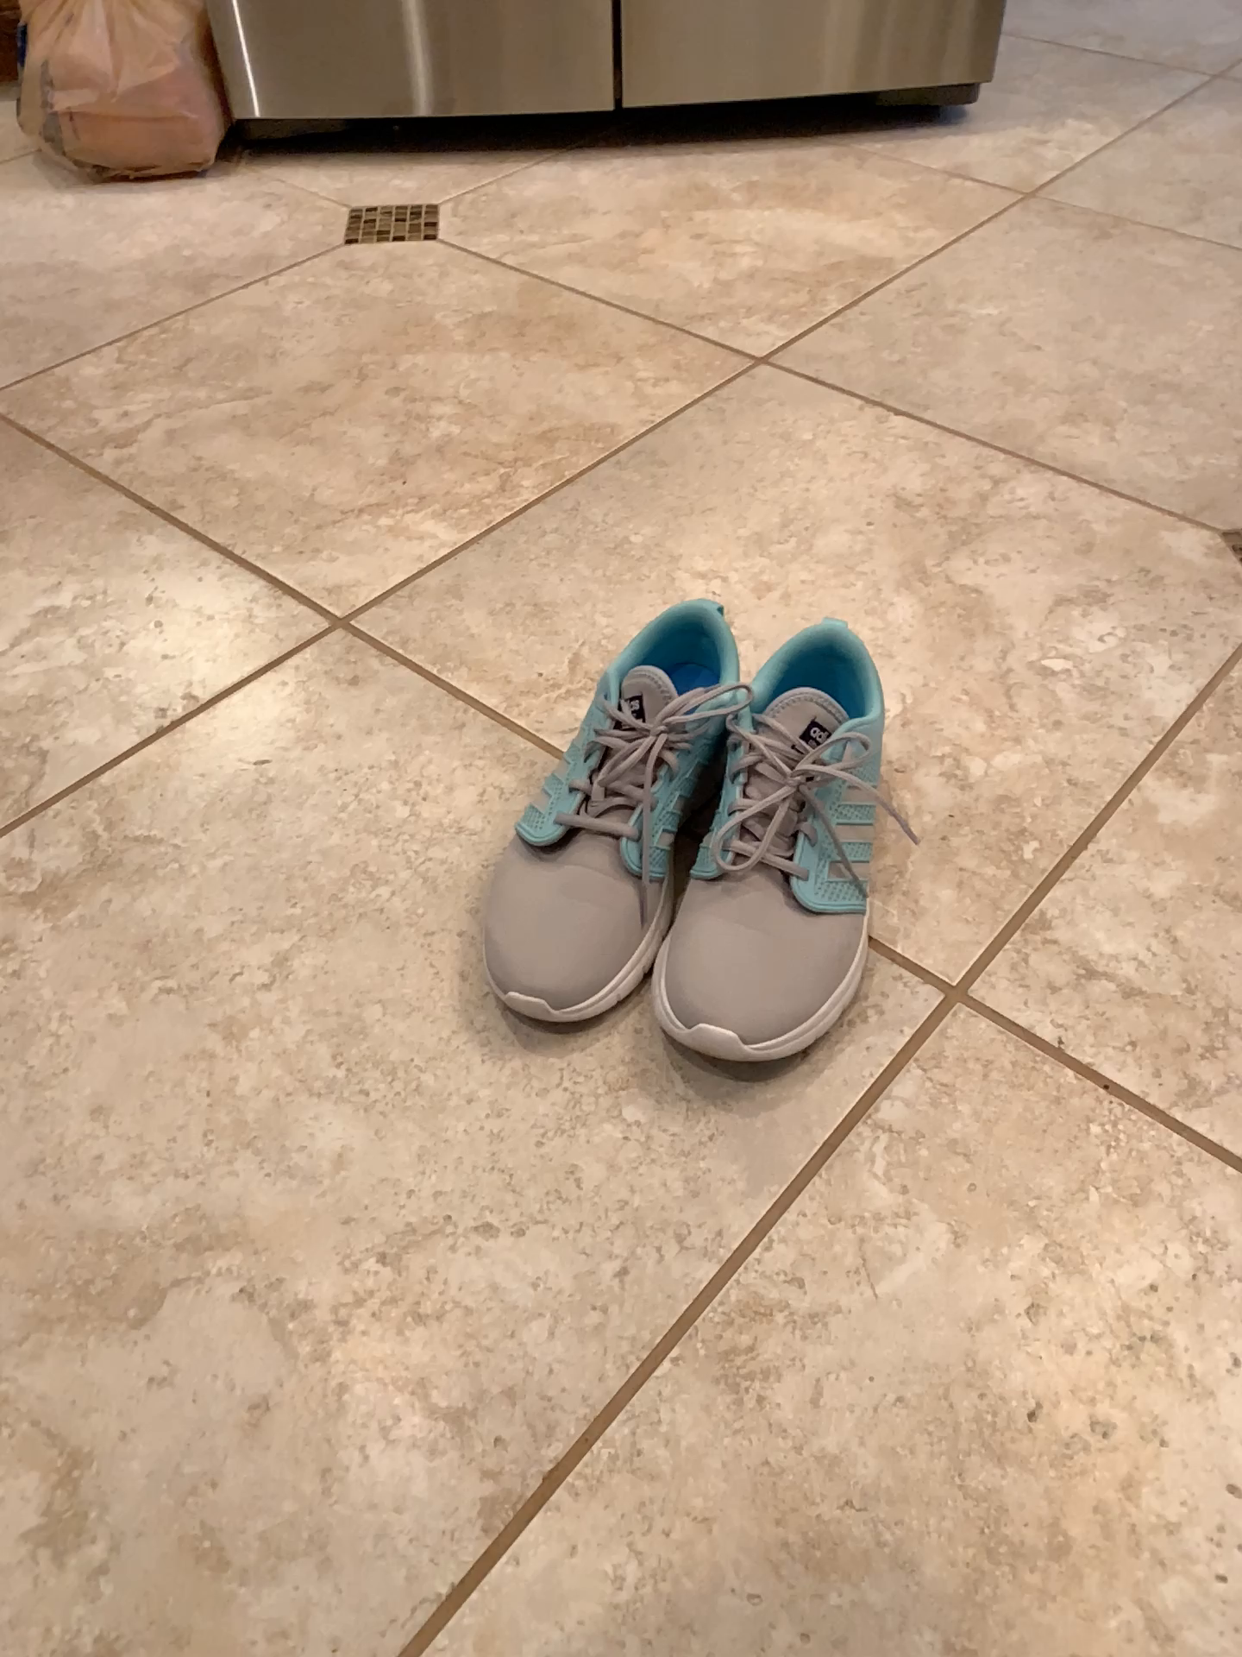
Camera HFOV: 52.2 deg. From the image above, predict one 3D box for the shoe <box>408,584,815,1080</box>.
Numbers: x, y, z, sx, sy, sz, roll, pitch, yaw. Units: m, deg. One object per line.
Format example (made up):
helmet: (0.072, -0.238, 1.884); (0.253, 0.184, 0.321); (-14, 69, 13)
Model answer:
shoe: (0.006, -0.010, 0.729); (0.106, 0.108, 0.272); (20, 50, 20)

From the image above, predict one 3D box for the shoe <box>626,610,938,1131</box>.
shoe: (0.095, 0.011, 0.703); (0.106, 0.108, 0.272); (12, 48, 13)
